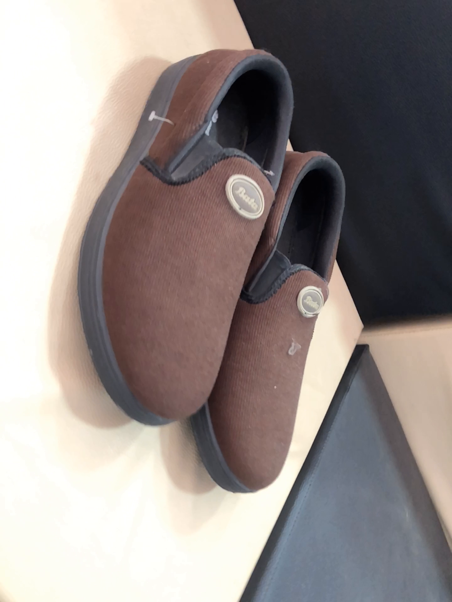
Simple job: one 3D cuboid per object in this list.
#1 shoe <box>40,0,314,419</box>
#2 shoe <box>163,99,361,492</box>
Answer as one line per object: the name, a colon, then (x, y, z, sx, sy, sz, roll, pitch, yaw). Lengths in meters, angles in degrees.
shoe: (-0.016, -0.061, 0.318, 0.091, 0.089, 0.250, 35, 56, -43)
shoe: (0.040, -0.008, 0.379, 0.091, 0.079, 0.270, 35, 56, -43)
